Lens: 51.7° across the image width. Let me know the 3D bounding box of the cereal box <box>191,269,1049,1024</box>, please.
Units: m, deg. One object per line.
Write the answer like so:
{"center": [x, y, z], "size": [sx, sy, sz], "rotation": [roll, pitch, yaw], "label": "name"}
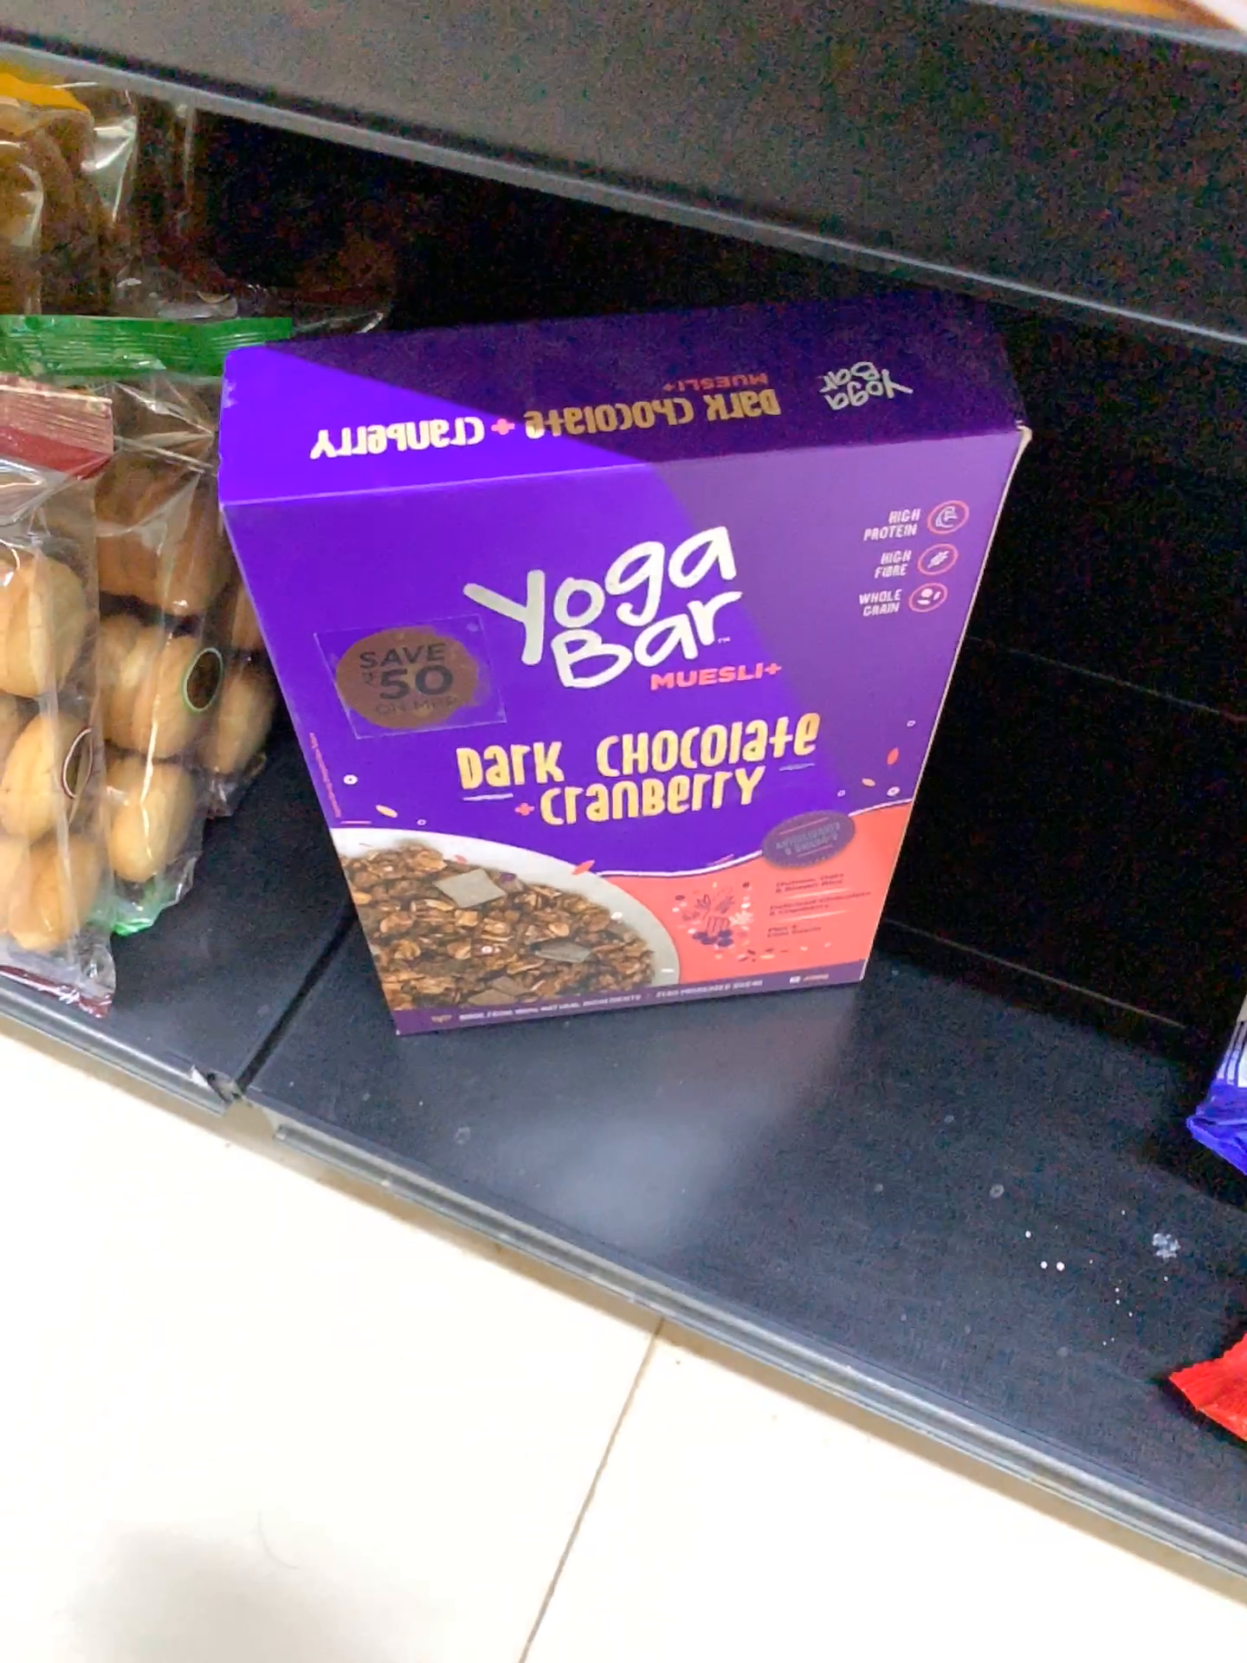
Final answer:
{"center": [-0.002, -0.031, 0.360], "size": [0.170, 0.229, 0.050], "rotation": [-5, 53, -4], "label": "cereal box"}
